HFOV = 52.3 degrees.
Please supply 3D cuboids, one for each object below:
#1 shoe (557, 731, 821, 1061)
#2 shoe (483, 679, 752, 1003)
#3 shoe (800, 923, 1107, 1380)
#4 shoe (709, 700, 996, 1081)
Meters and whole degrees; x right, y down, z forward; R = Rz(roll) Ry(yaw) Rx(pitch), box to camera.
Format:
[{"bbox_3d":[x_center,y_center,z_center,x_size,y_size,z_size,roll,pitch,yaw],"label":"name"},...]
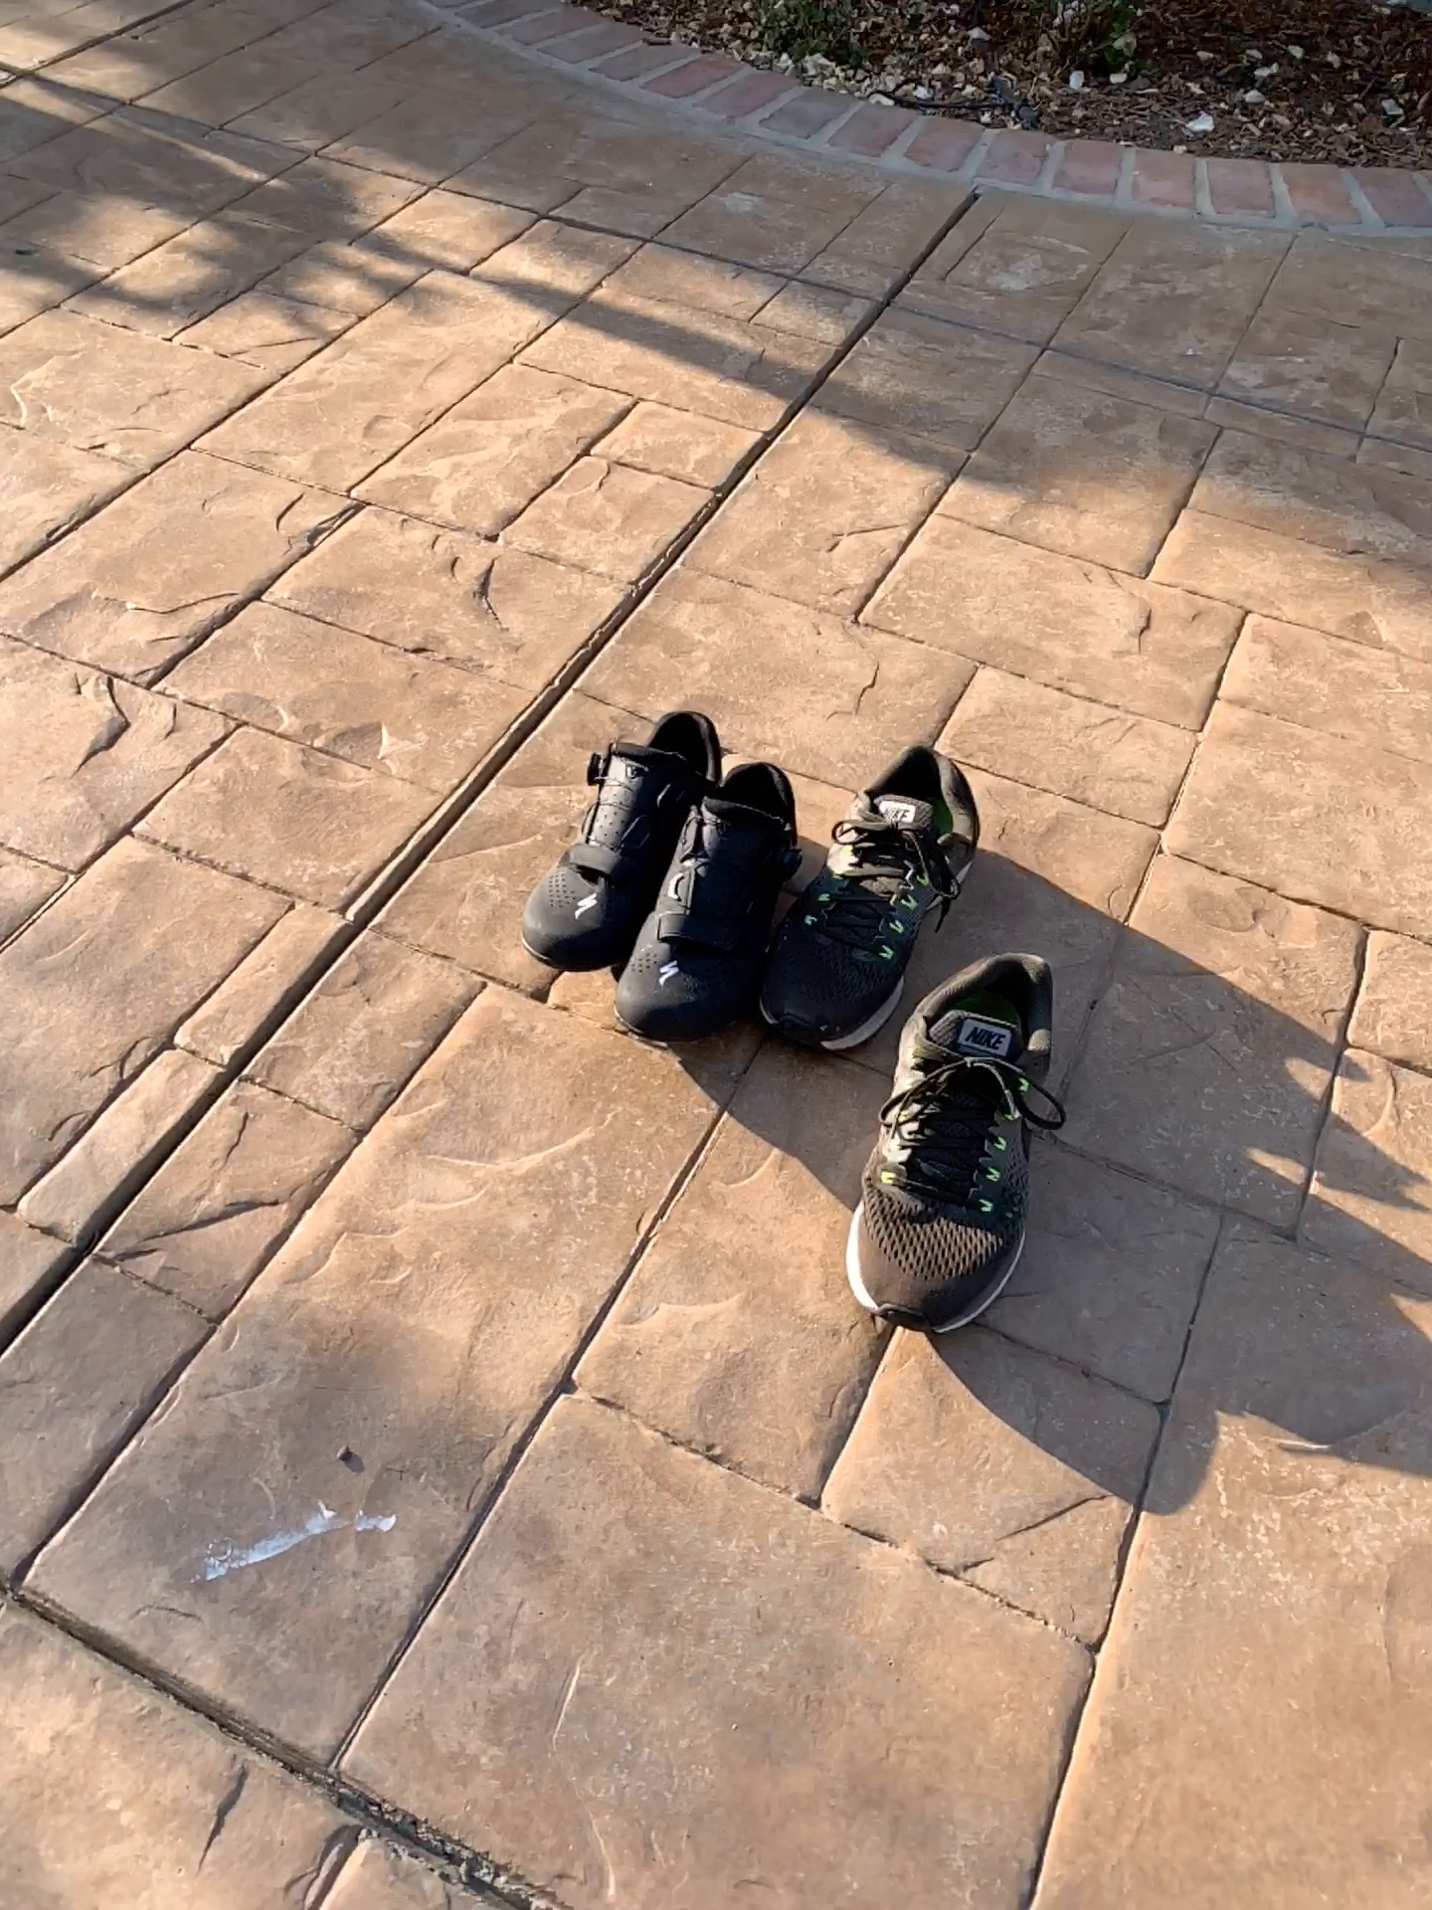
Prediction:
[{"bbox_3d":[-0.014,-0.048,1.013,0.100,0.070,0.231,18,49,12],"label":"shoe"},{"bbox_3d":[-0.067,-0.093,1.097,0.100,0.070,0.261,18,49,12],"label":"shoe"},{"bbox_3d":[0.163,0.118,0.965,0.120,0.070,0.291,18,49,12],"label":"shoe"},{"bbox_3d":[0.102,-0.055,1.048,0.100,0.090,0.281,21,50,15],"label":"shoe"}]
